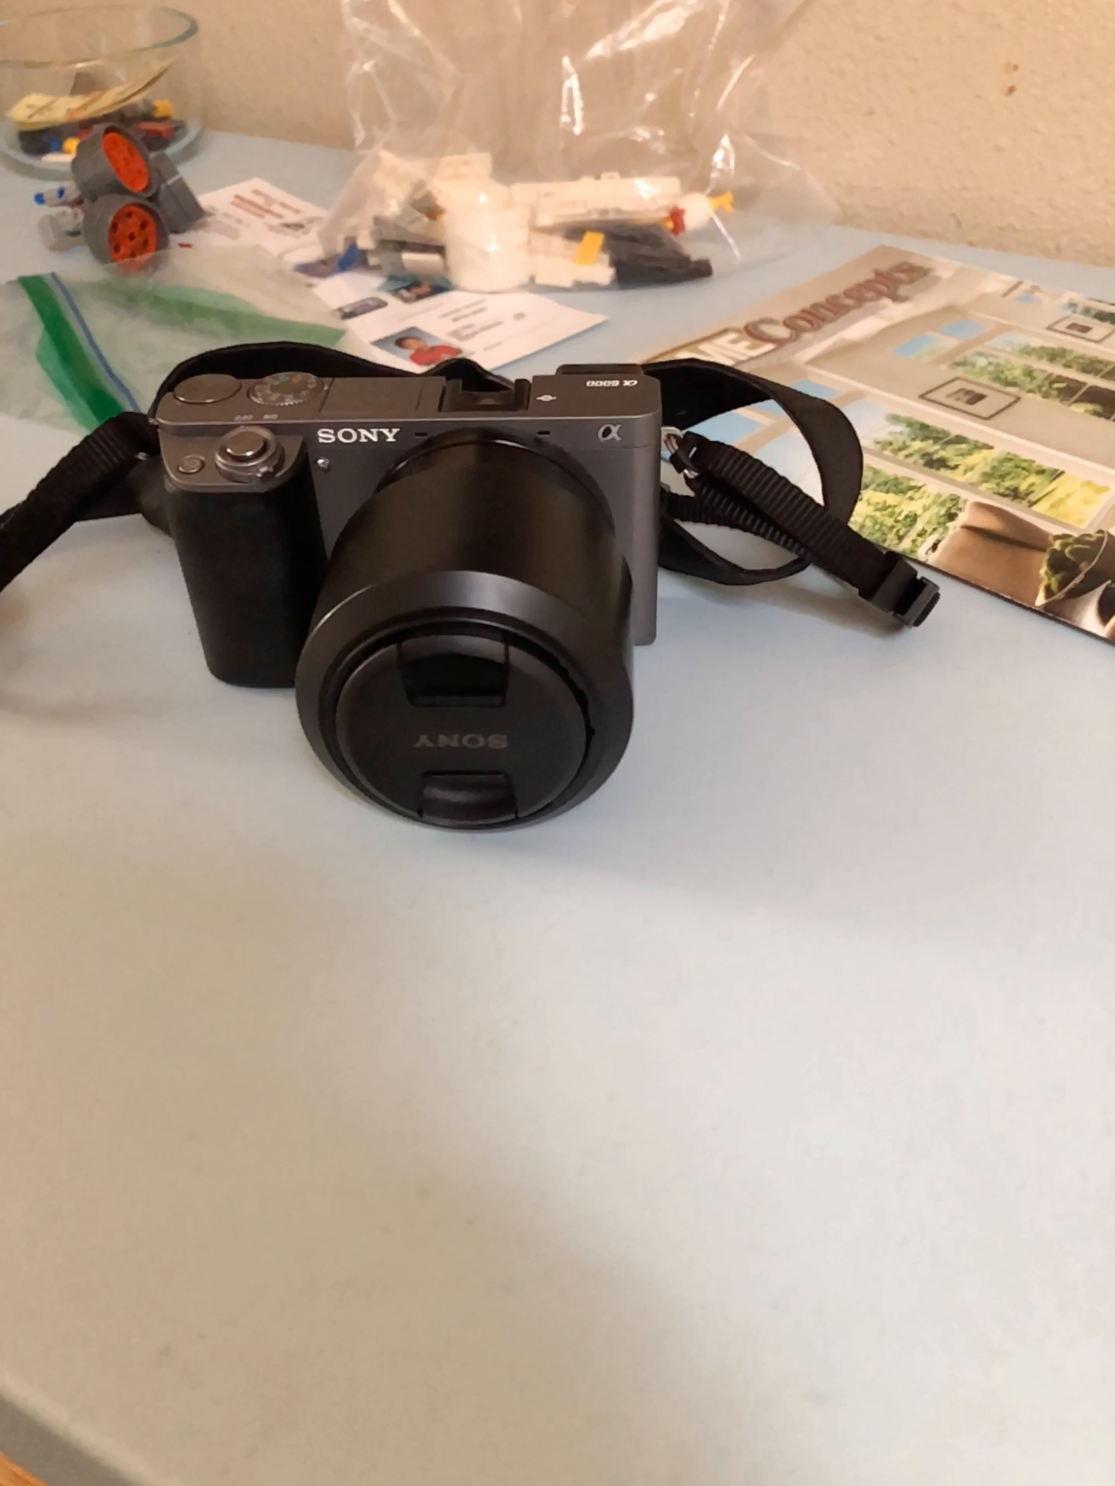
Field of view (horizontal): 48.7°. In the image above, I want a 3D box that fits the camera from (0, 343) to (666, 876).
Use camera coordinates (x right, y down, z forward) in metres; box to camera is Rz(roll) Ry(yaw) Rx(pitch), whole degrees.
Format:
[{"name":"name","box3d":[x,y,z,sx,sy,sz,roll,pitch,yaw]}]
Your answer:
[{"name":"camera","box3d":[-0.042,-0.035,0.283,0.130,0.070,0.111,1,41,4]}]
